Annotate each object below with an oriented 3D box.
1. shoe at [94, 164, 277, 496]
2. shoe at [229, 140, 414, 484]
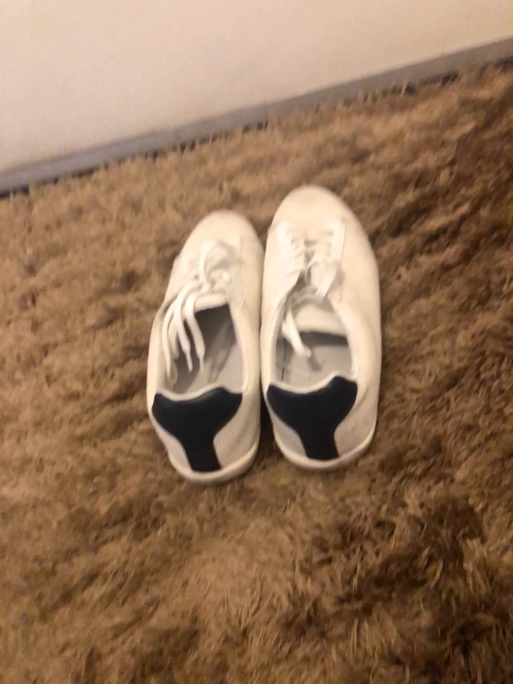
[{"bbox_3d":[-0.043,-0.021,0.462,0.100,0.079,0.264,-9,51,12],"label":"shoe"},{"bbox_3d":[0.046,-0.035,0.442,0.104,0.079,0.264,-9,51,13],"label":"shoe"}]
